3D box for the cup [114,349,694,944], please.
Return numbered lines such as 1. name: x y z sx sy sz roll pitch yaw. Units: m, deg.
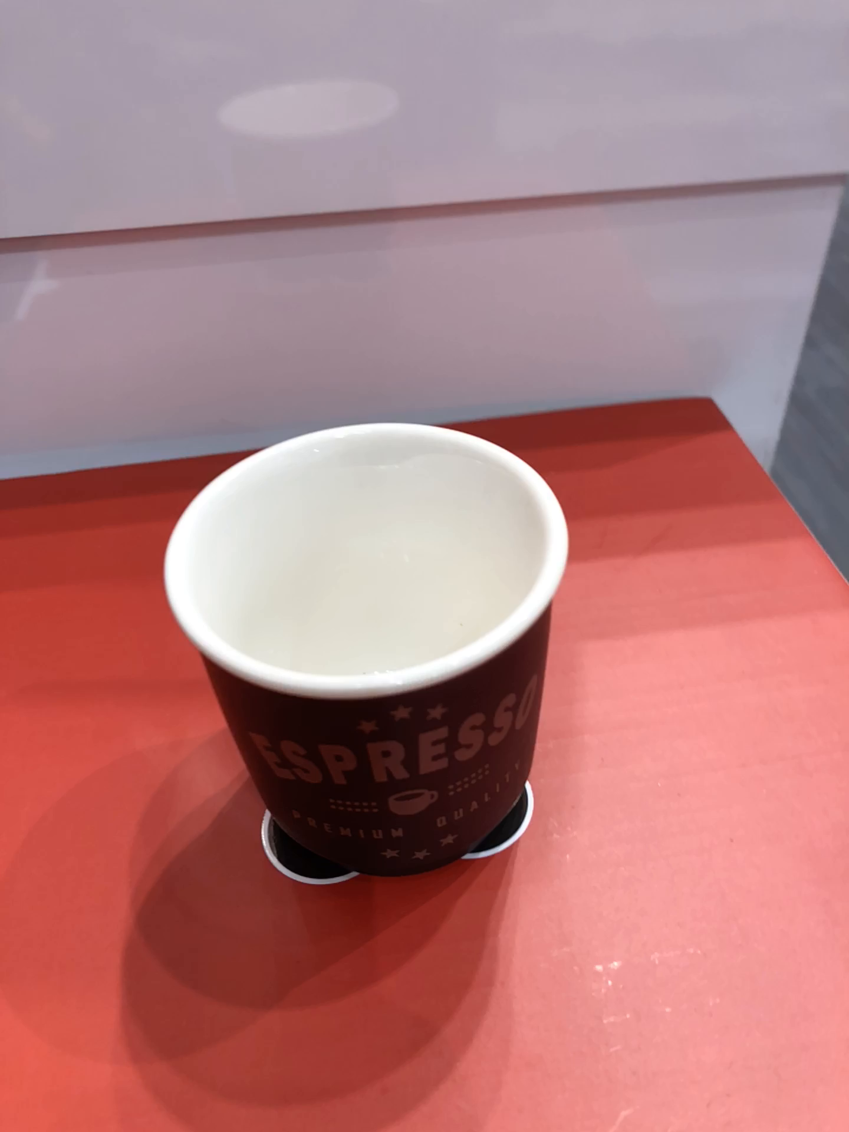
1. cup: -0.006 0.010 0.164 0.070 0.060 0.060 -16 43 -16
